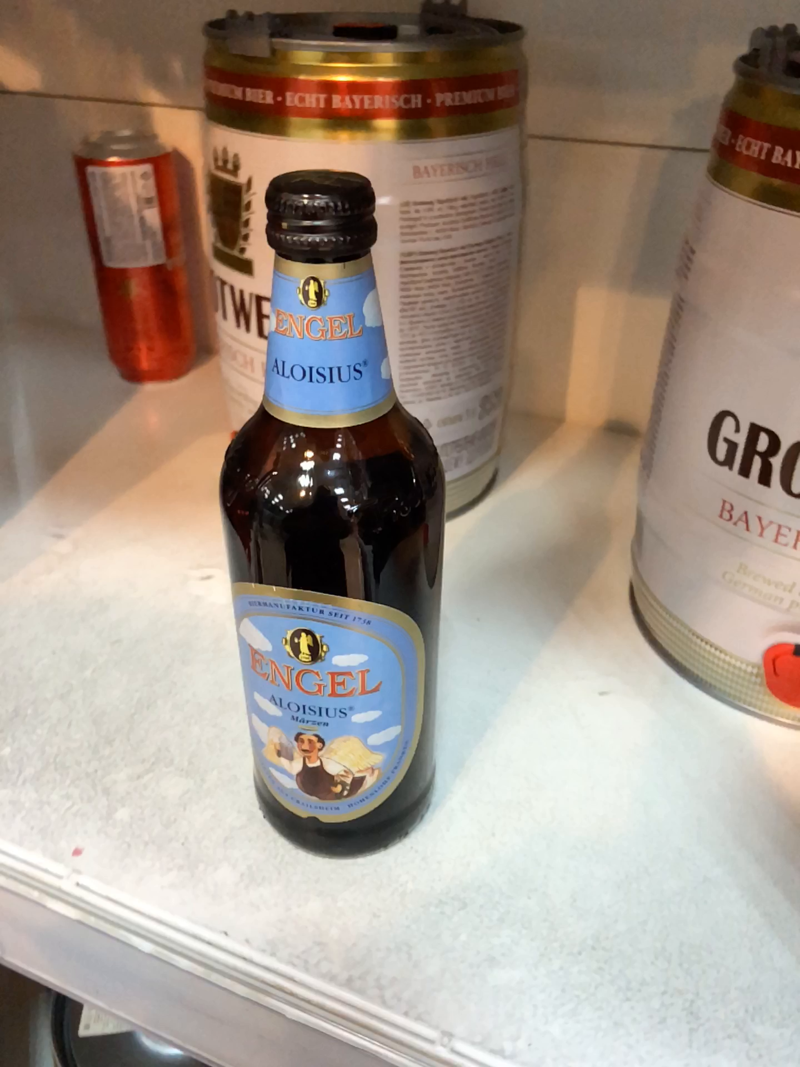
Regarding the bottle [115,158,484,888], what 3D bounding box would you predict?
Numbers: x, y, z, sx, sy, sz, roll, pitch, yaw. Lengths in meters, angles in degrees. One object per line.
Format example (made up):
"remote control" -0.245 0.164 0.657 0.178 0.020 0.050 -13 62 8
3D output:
"bottle" -0.021 0.008 0.276 0.070 0.219 0.060 11 36 16
